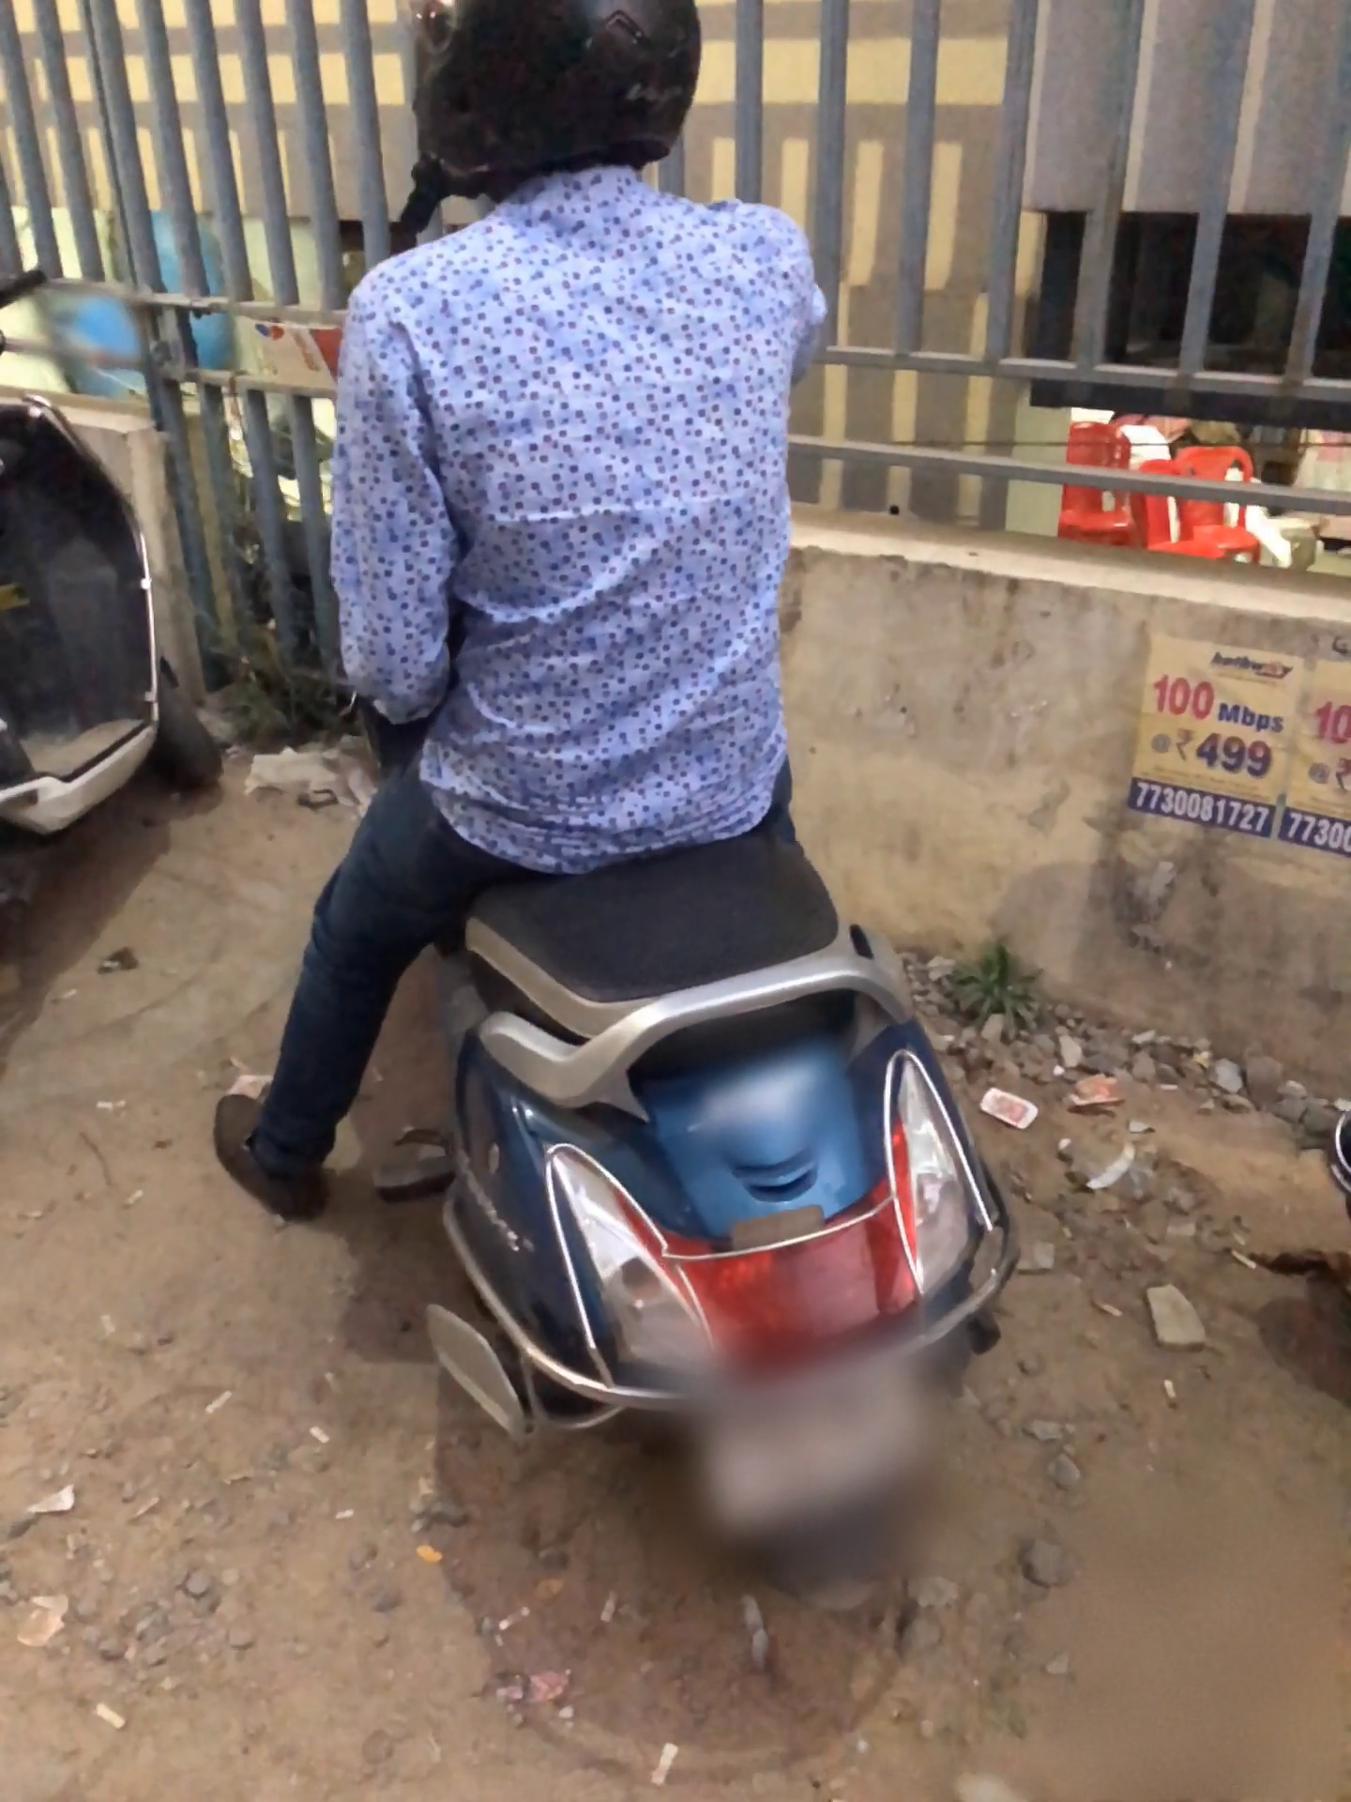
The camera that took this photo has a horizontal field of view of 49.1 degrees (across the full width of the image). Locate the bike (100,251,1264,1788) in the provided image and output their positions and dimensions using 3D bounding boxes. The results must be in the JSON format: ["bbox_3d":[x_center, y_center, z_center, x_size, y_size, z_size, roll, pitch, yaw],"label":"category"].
[{"bbox_3d":[-0.168,-0.053,1.834,0.616,1.130,1.476,-13,34,-22],"label":"bike"}]
